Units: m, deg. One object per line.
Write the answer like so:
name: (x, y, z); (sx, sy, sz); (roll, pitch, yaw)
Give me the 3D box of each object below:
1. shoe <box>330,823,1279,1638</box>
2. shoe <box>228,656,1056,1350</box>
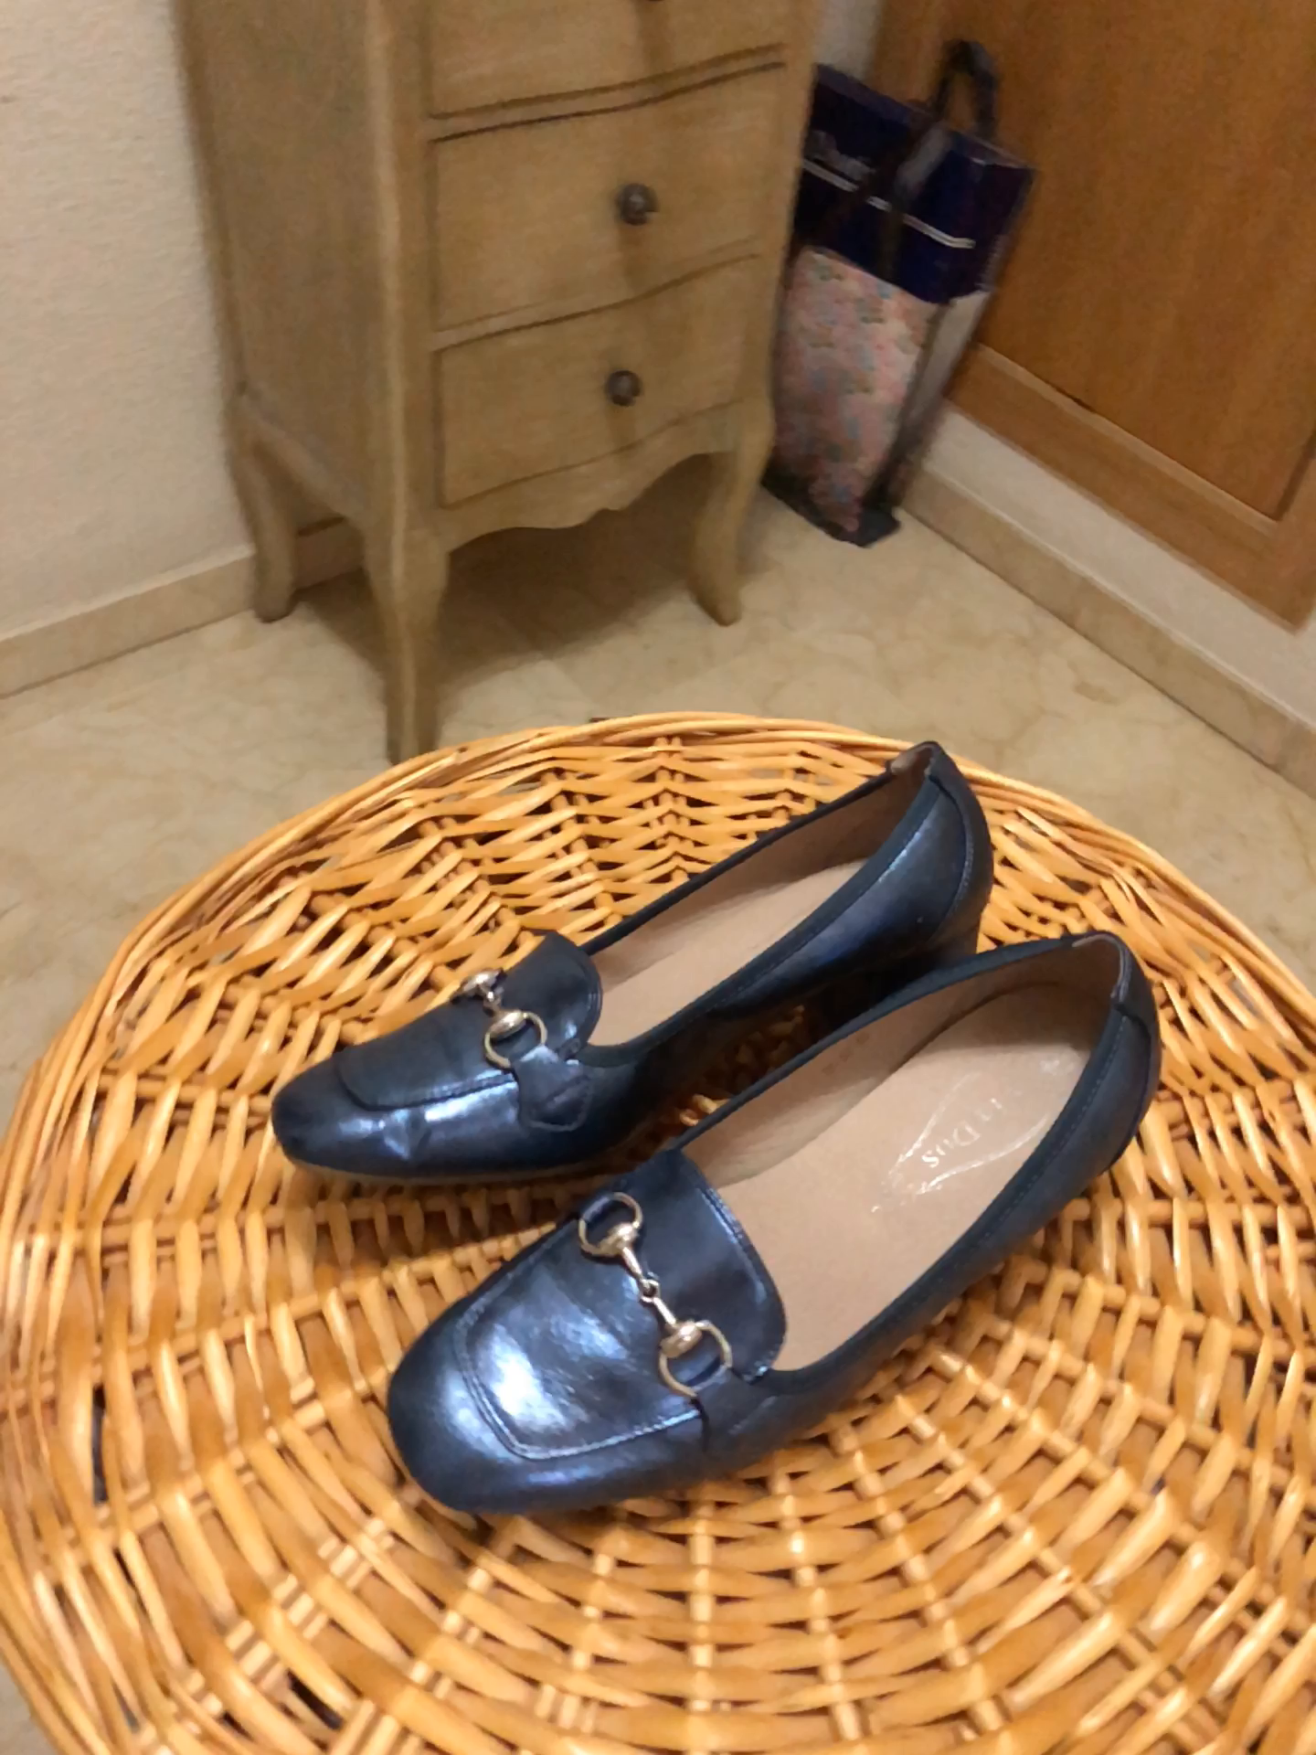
shoe: (0.049, 0.100, 0.440); (0.260, 0.090, 0.090); (-29, 48, -13)
shoe: (-0.001, 0.038, 0.496); (0.250, 0.090, 0.100); (-28, 47, -8)
